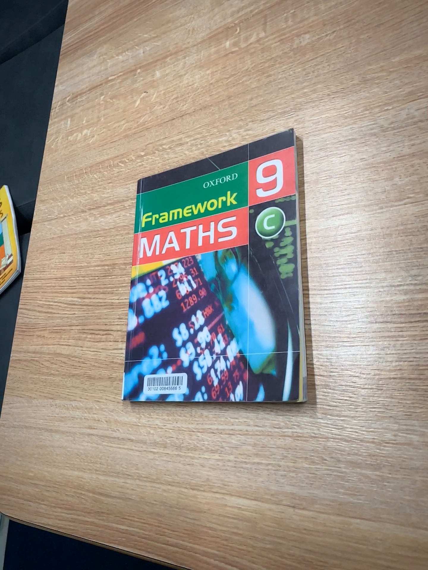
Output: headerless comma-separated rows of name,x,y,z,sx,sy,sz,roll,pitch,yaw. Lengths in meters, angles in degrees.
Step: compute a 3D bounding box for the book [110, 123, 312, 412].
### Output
book,-0.011,-0.011,0.407,0.191,0.020,0.244,-9,71,30
